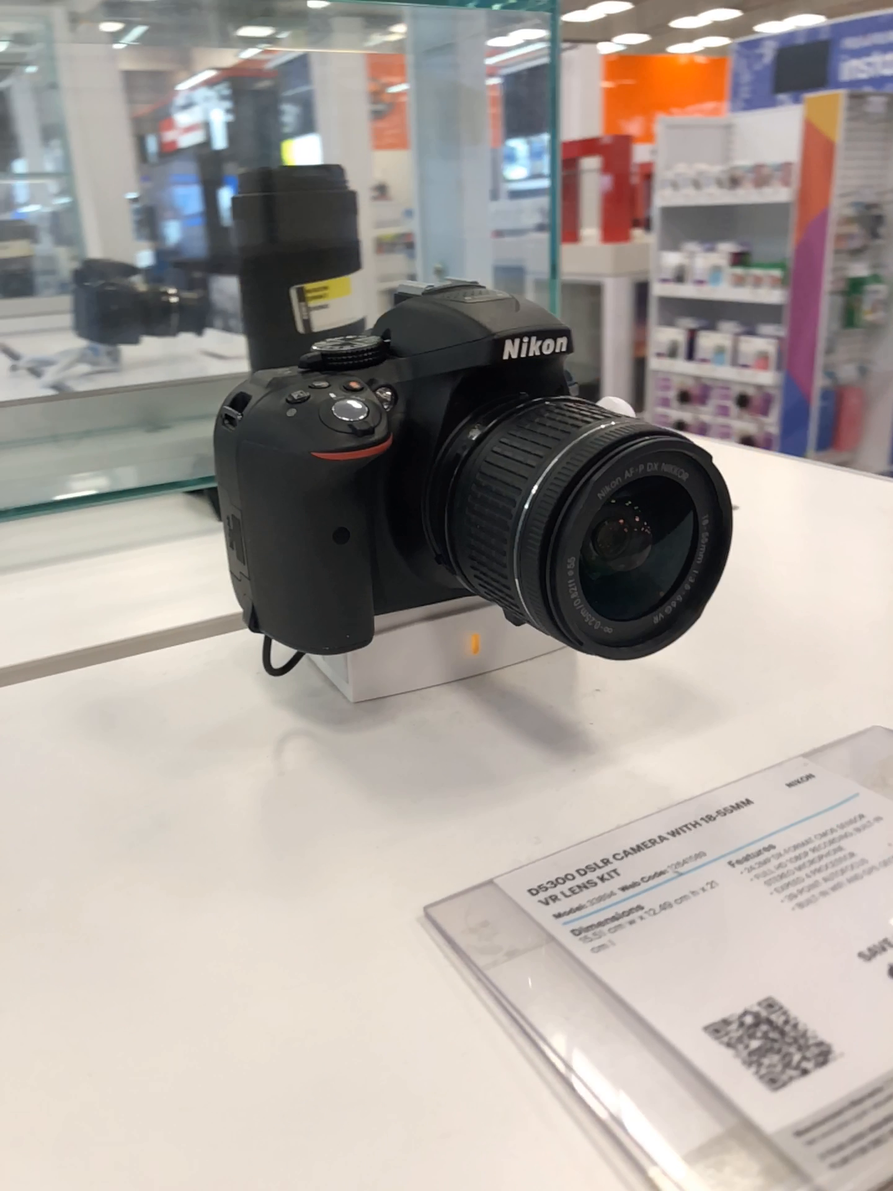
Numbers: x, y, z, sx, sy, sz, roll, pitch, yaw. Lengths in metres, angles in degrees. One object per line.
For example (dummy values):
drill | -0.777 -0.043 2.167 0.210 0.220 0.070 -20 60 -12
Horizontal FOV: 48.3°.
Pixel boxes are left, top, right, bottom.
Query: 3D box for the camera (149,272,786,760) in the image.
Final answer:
camera | 0.000 -0.042 0.304 0.130 0.100 0.140 -14 22 -27
